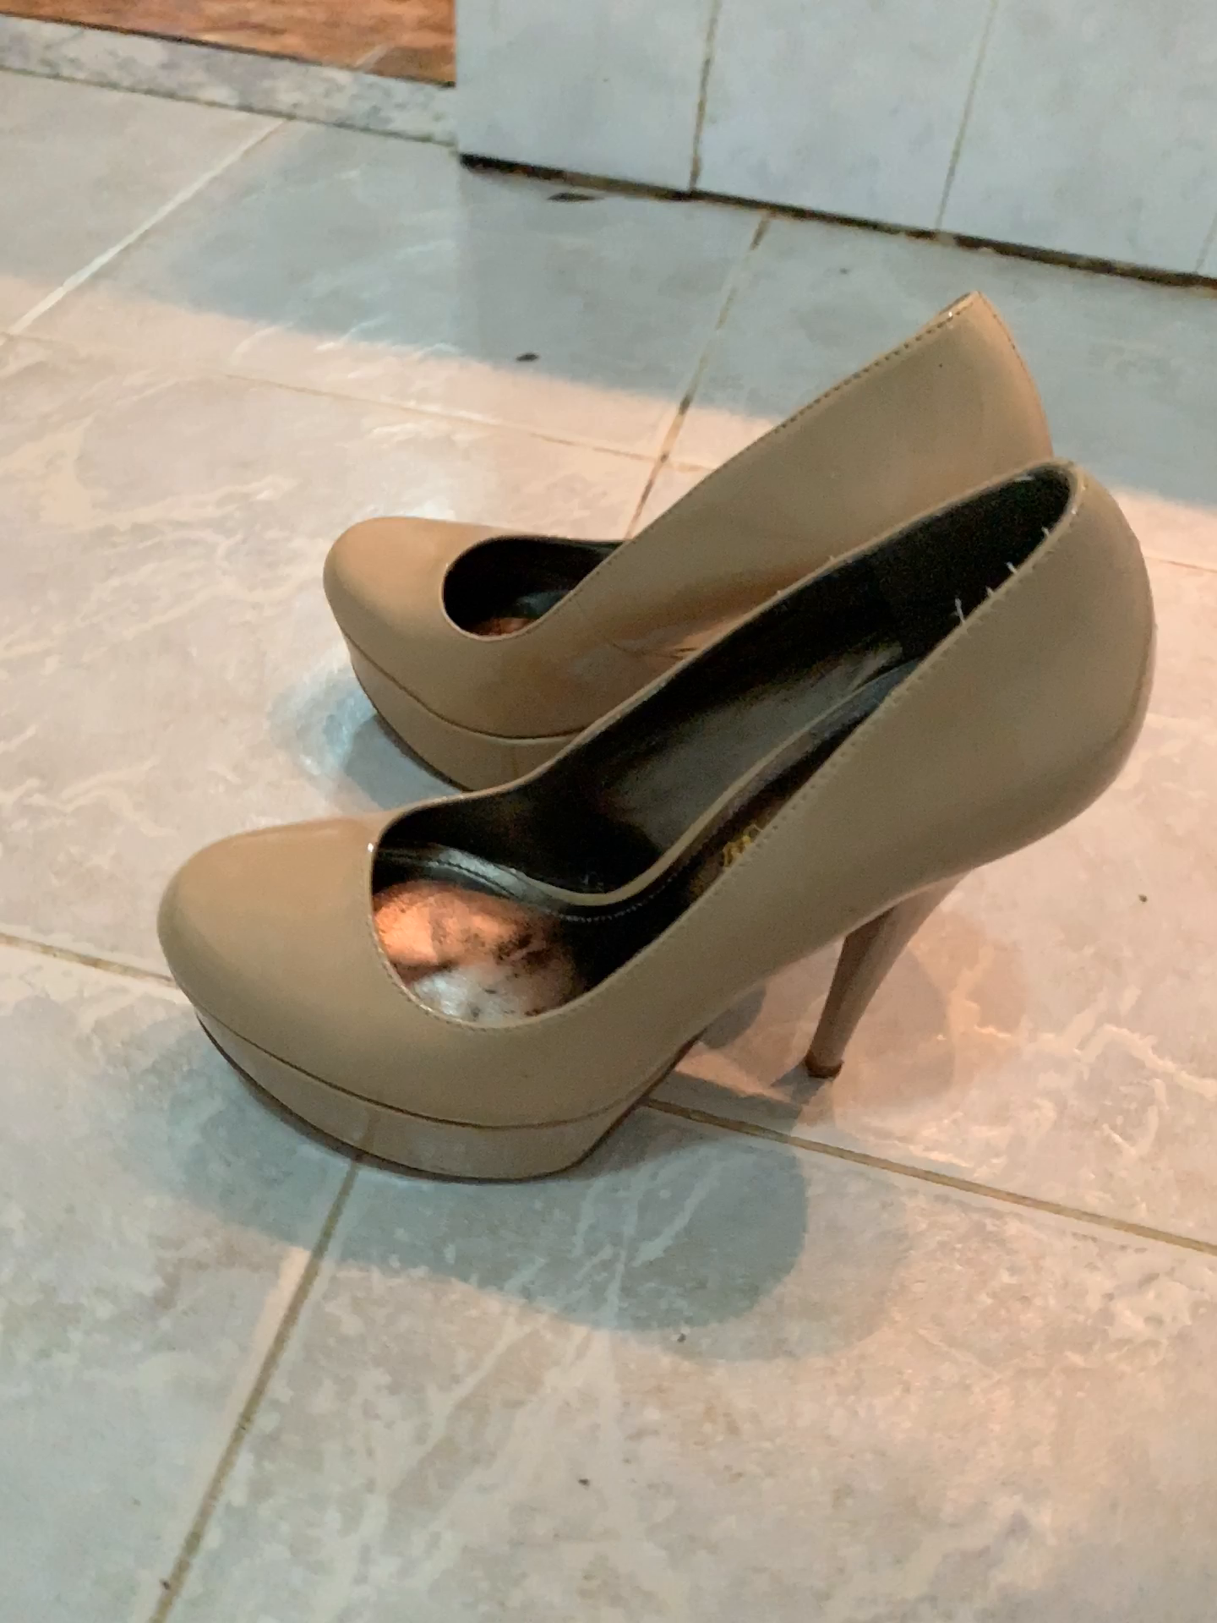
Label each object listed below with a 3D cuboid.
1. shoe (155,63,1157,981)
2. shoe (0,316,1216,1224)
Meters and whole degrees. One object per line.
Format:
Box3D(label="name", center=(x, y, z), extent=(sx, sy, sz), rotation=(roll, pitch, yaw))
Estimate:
Box3D(label="shoe", center=(0.006, -0.076, 0.346), extent=(0.210, 0.176, 0.087), rotation=(21, 48, 14))
Box3D(label="shoe", center=(-0.005, 0.002, 0.273), extent=(0.210, 0.166, 0.087), rotation=(5, 46, -1))
